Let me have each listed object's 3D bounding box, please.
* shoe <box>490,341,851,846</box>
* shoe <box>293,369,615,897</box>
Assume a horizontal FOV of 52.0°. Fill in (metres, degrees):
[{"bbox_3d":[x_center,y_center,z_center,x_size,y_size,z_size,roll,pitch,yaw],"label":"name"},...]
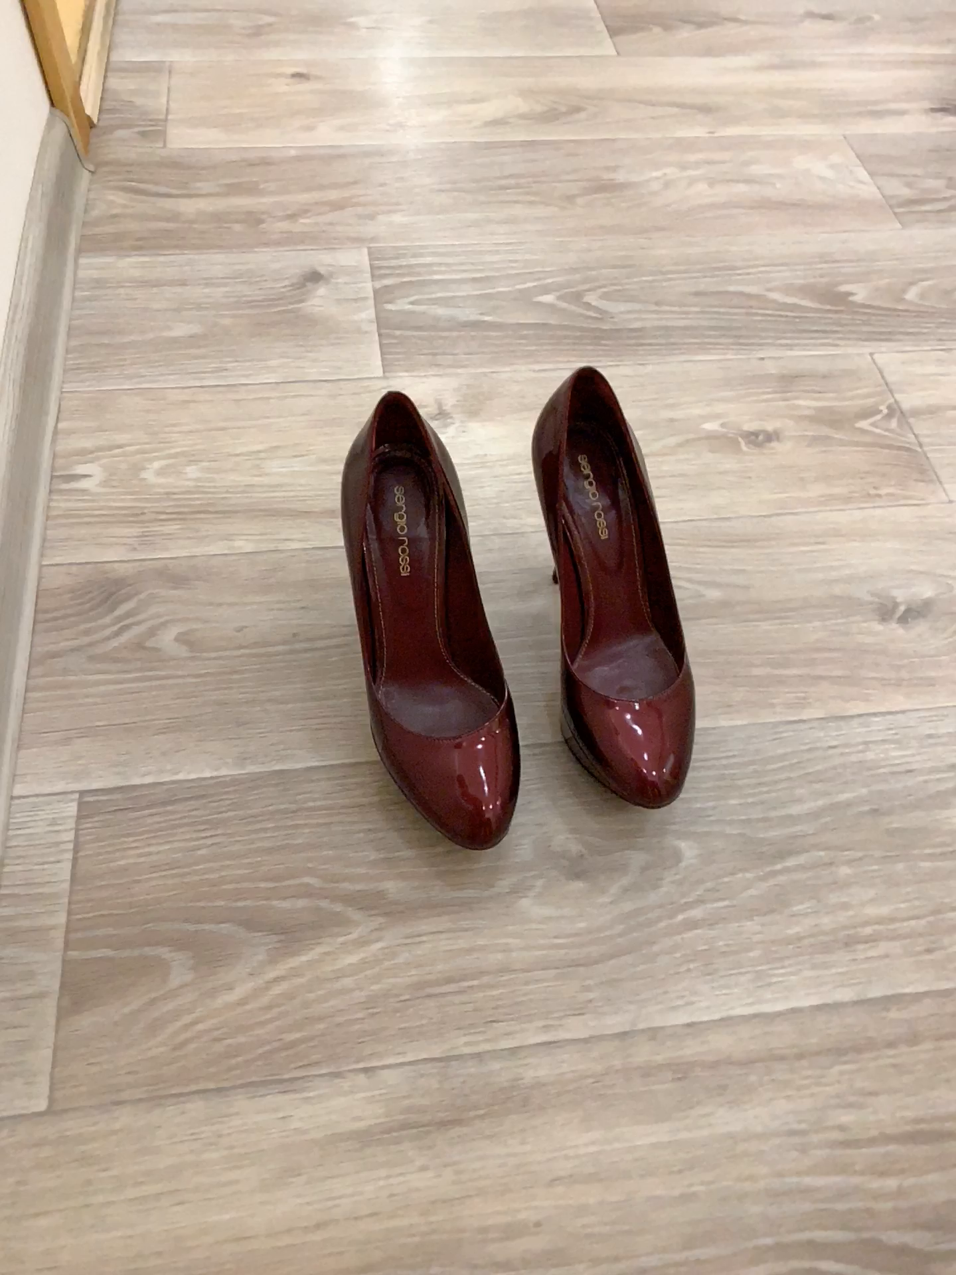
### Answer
[{"bbox_3d":[0.083,-0.025,0.523,0.086,0.149,0.211,-11,57,-12],"label":"shoe"},{"bbox_3d":[-0.023,-0.004,0.502,0.086,0.149,0.211,-13,57,-13],"label":"shoe"}]
